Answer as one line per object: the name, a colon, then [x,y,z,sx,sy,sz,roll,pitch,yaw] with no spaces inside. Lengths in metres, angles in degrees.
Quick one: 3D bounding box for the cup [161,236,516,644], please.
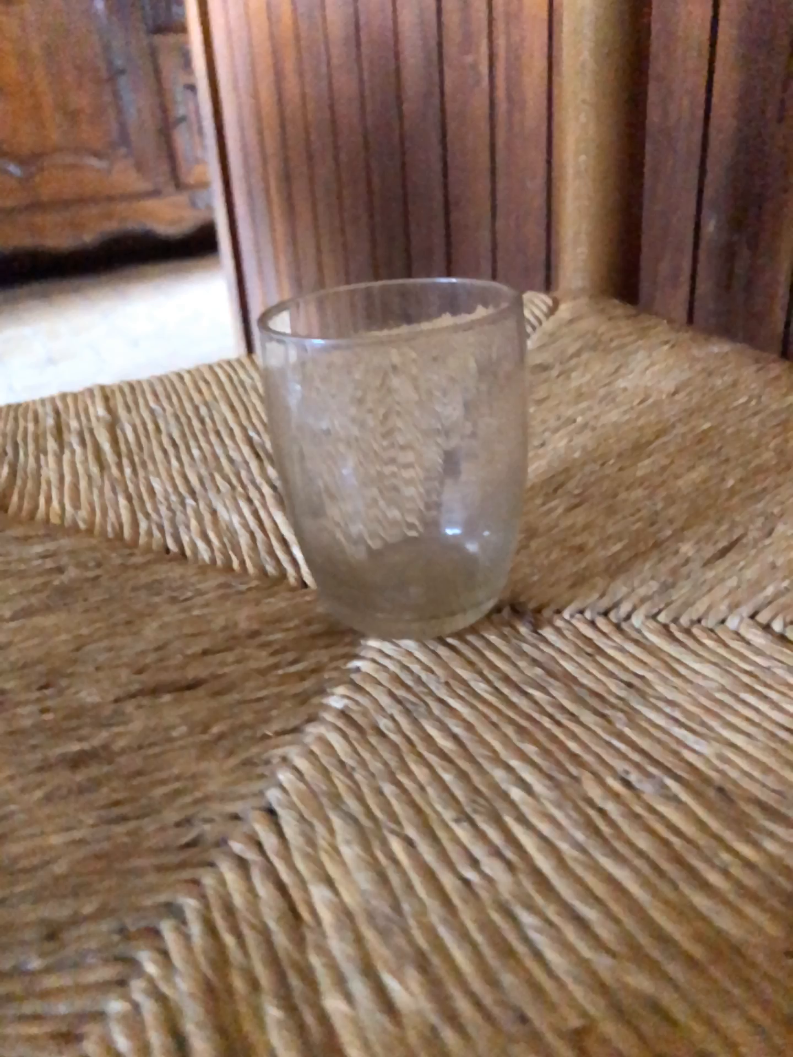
cup: [-0.006,-0.024,0.224,0.070,0.080,0.070,-4,28,2]
